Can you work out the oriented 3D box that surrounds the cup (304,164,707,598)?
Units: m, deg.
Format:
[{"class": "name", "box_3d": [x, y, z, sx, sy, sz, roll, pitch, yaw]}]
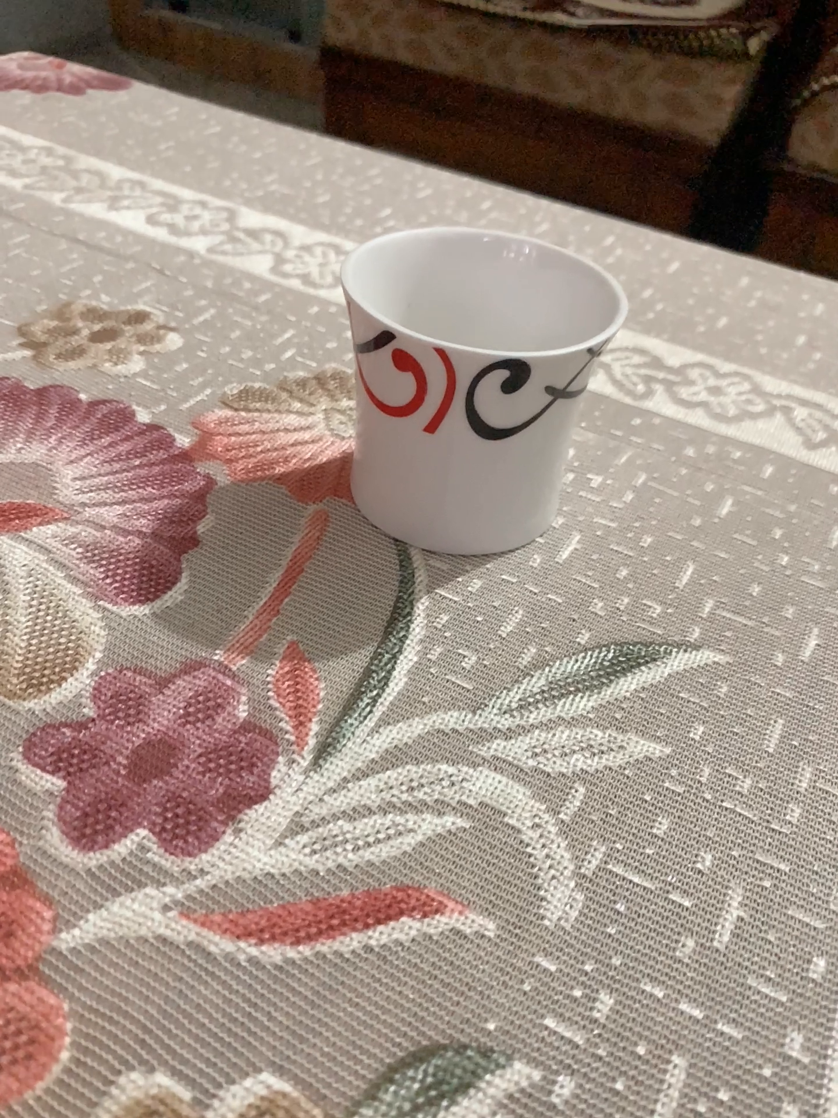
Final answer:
[{"class": "cup", "box_3d": [0.023, -0.051, 0.226, 0.070, 0.060, 0.090, 20, 43, 13]}]
